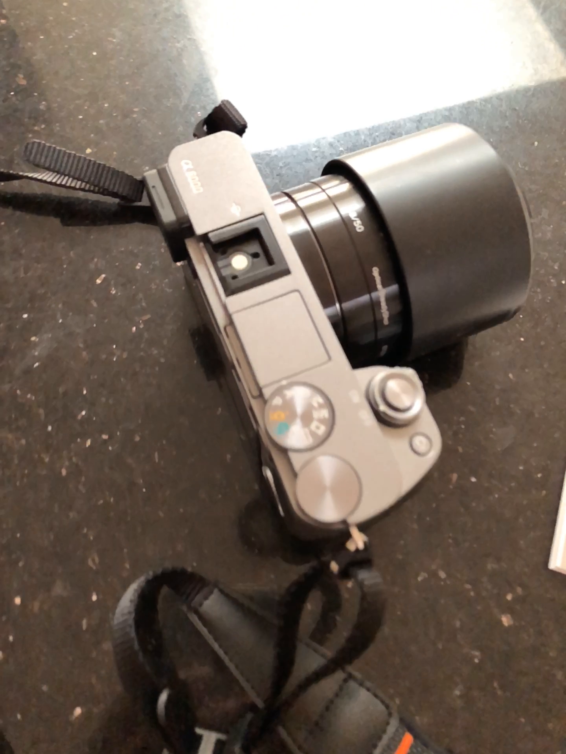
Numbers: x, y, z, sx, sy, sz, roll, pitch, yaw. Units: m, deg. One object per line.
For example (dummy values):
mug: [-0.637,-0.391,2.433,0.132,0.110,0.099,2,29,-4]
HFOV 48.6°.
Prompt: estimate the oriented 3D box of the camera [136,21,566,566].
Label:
camera: [0.033,-0.025,0.189,0.110,0.060,0.120,-22,72,-9]
